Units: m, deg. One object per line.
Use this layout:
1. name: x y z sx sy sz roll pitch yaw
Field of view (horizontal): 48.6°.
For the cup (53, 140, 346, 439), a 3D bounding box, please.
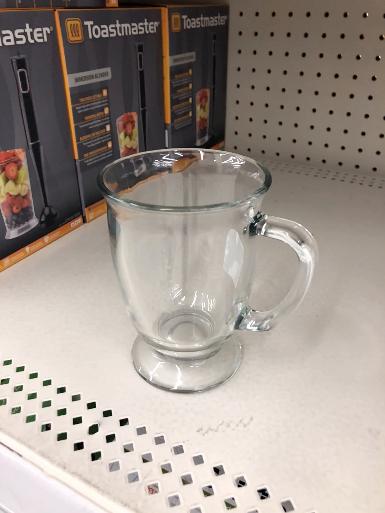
1. cup: 0.009 0.008 0.284 0.138 0.128 0.110 15 34 26
